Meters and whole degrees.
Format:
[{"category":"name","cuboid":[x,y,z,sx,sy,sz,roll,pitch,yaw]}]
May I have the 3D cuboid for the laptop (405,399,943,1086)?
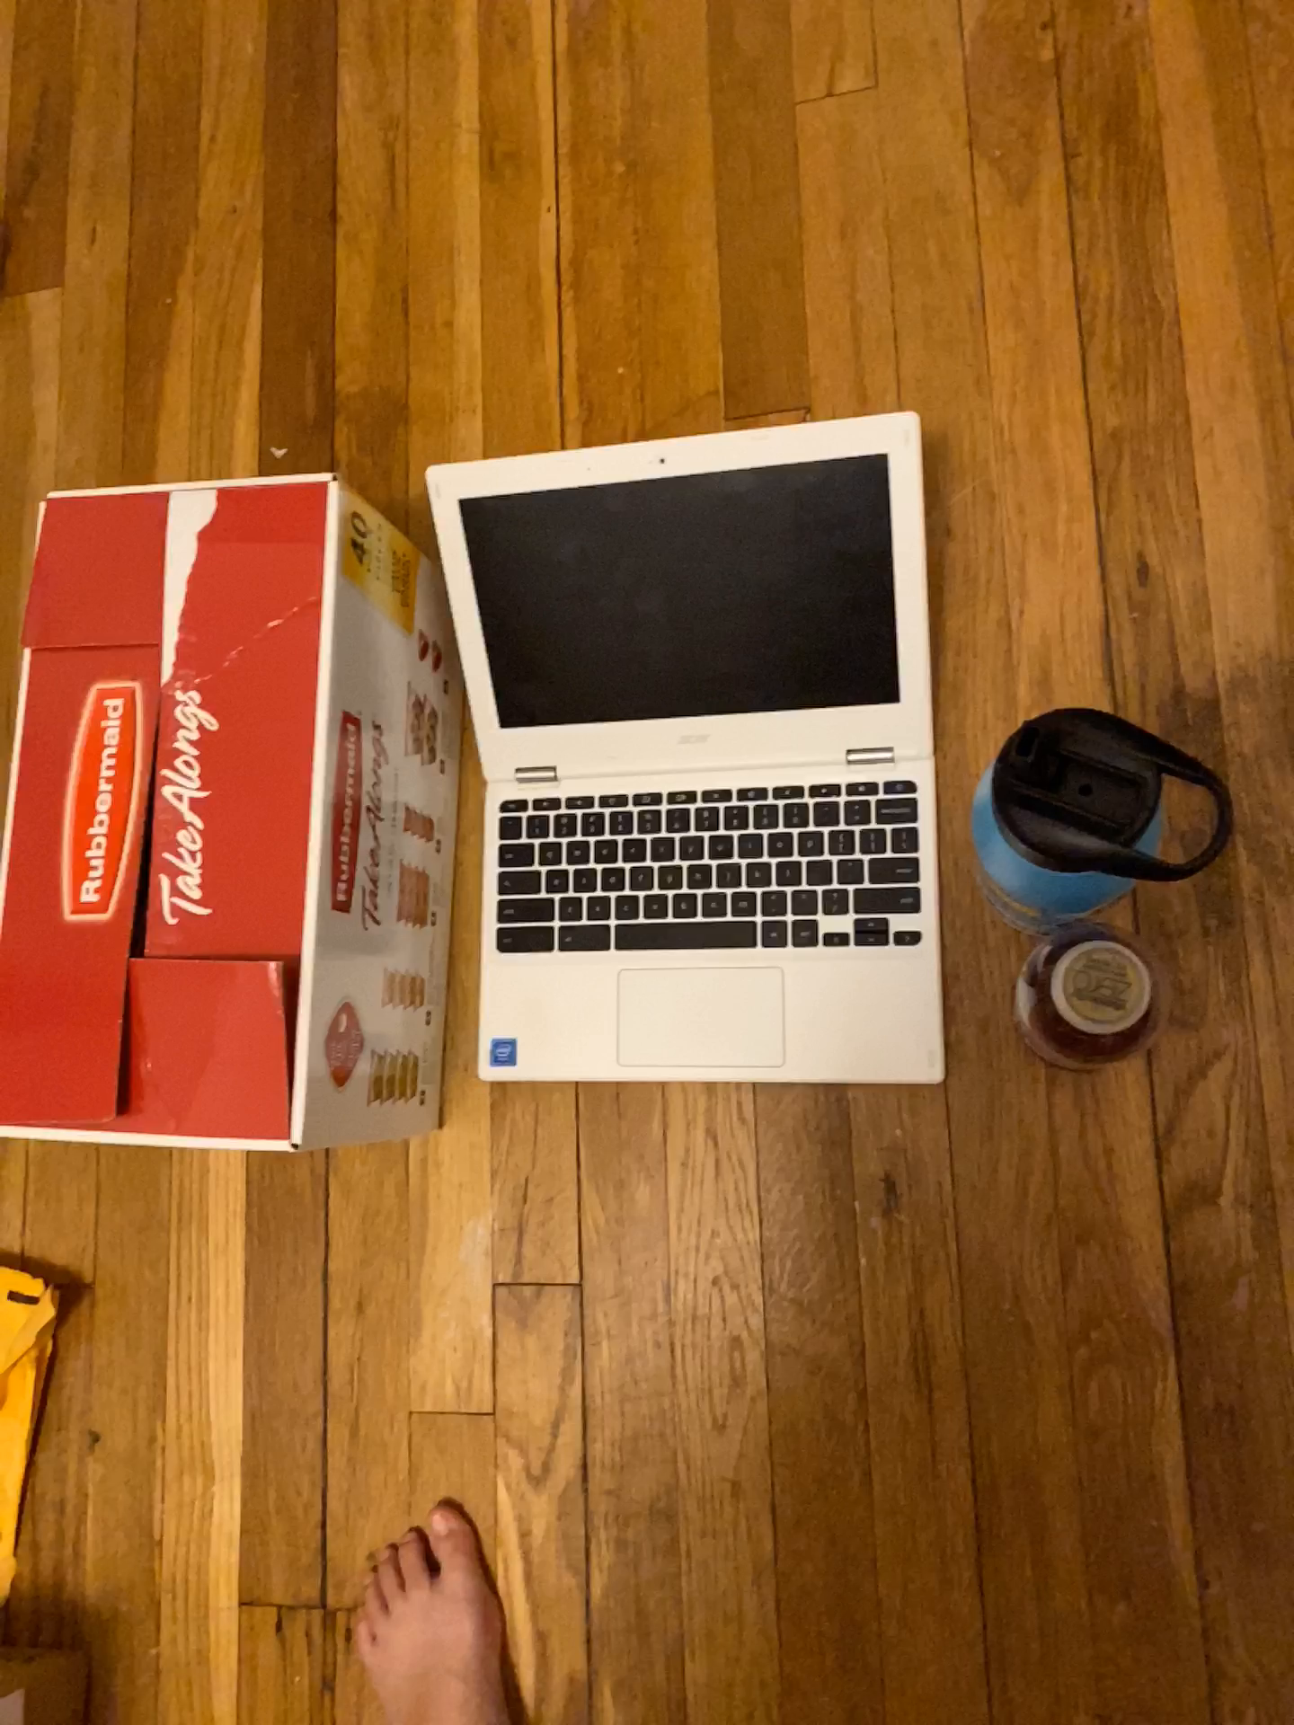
[{"category":"laptop","cuboid":[0.020,-0.054,0.774,0.289,0.110,0.364,-2,81,16]}]
